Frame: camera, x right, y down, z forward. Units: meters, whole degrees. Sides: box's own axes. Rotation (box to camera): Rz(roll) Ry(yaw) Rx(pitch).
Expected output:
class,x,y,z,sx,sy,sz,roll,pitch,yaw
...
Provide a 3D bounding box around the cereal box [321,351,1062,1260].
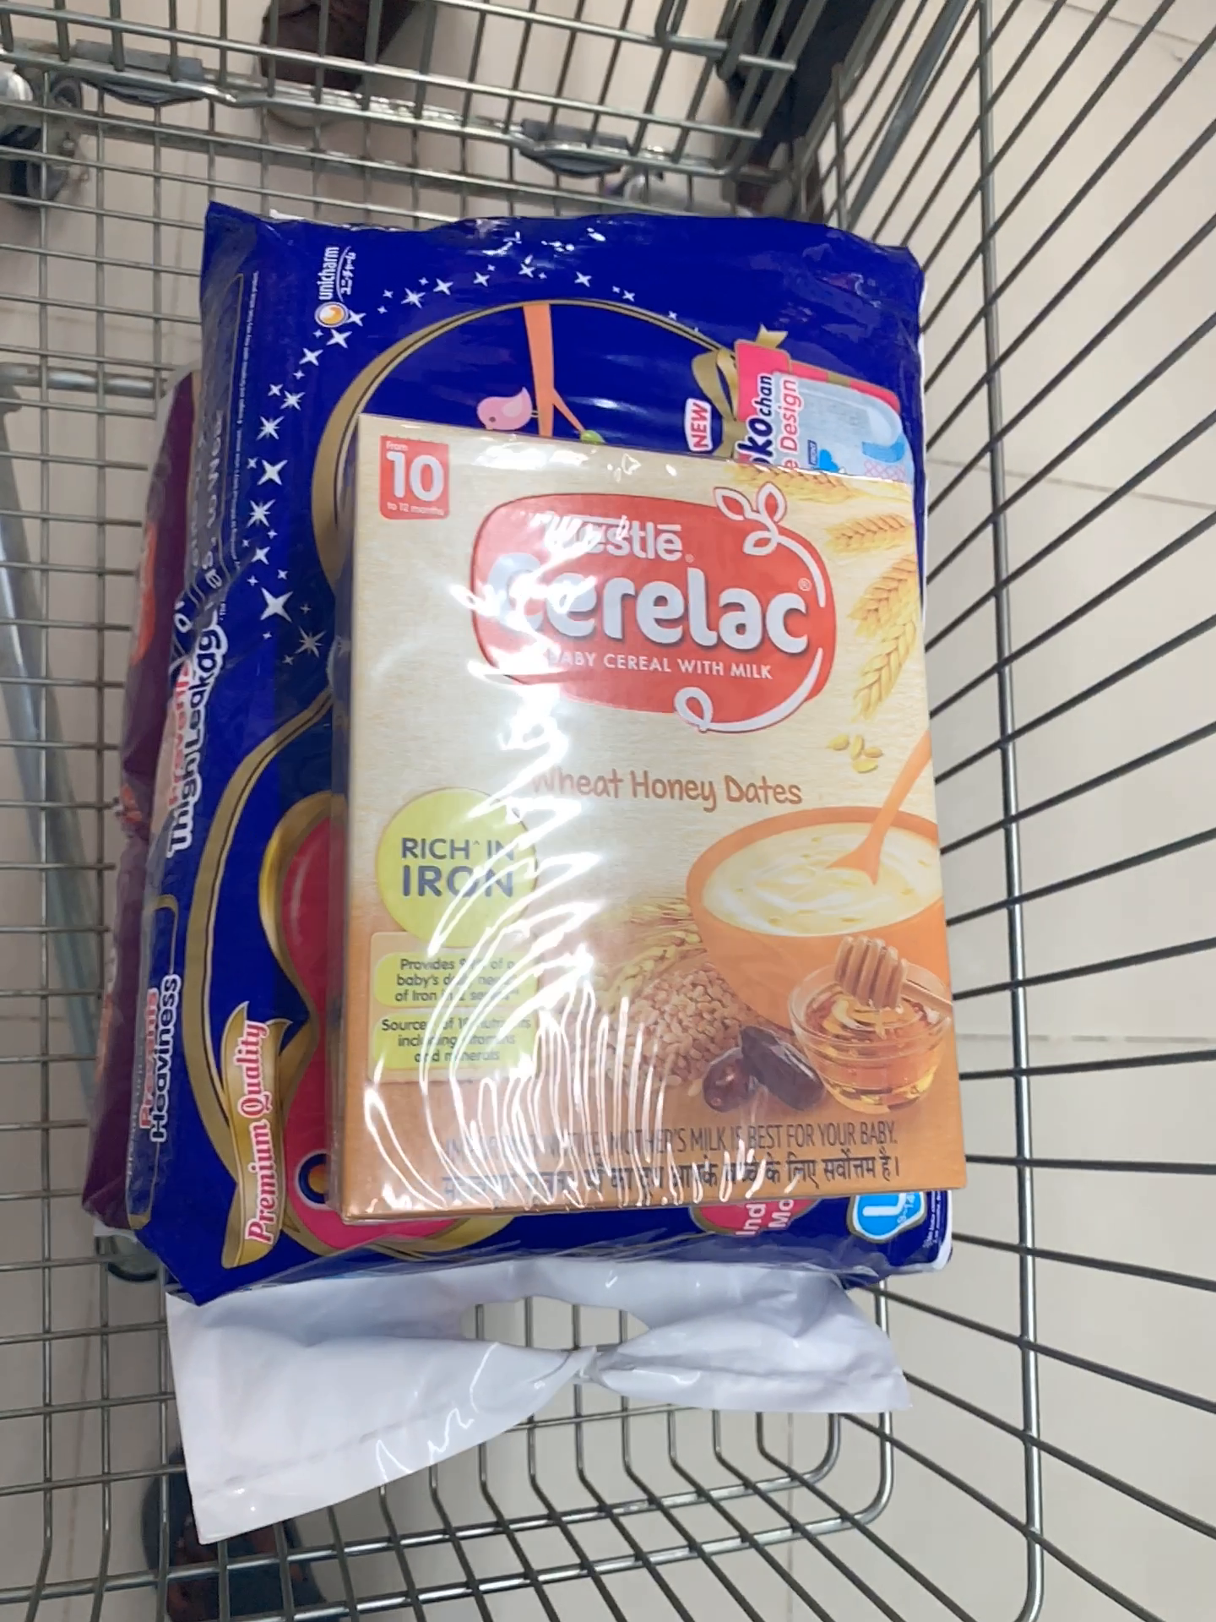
class,x,y,z,sx,sy,sz,roll,pitch,yaw
cereal box,0.015,0.001,0.308,0.160,0.060,0.190,2,78,-17
